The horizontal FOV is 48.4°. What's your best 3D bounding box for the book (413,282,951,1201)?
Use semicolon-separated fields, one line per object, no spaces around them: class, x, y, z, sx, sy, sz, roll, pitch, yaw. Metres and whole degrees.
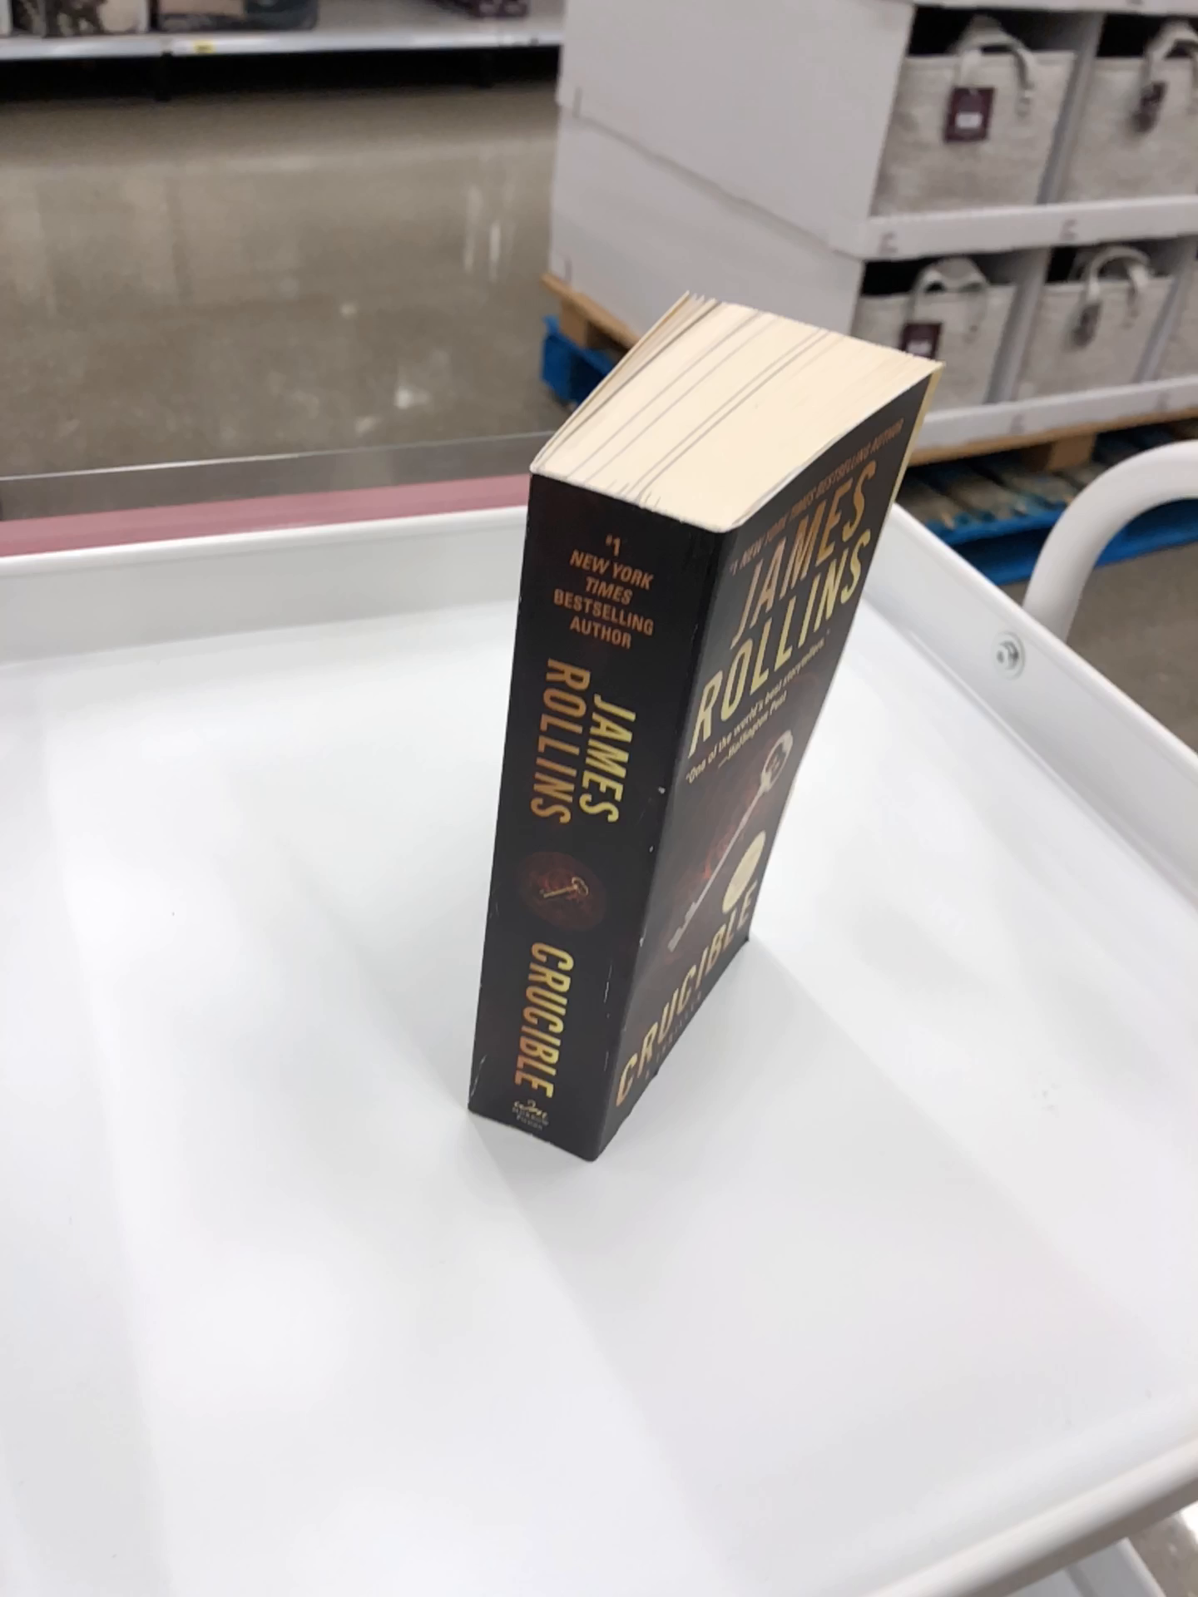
book;0.015;-0.011;0.328;0.066;0.184;0.113;22;41;16
